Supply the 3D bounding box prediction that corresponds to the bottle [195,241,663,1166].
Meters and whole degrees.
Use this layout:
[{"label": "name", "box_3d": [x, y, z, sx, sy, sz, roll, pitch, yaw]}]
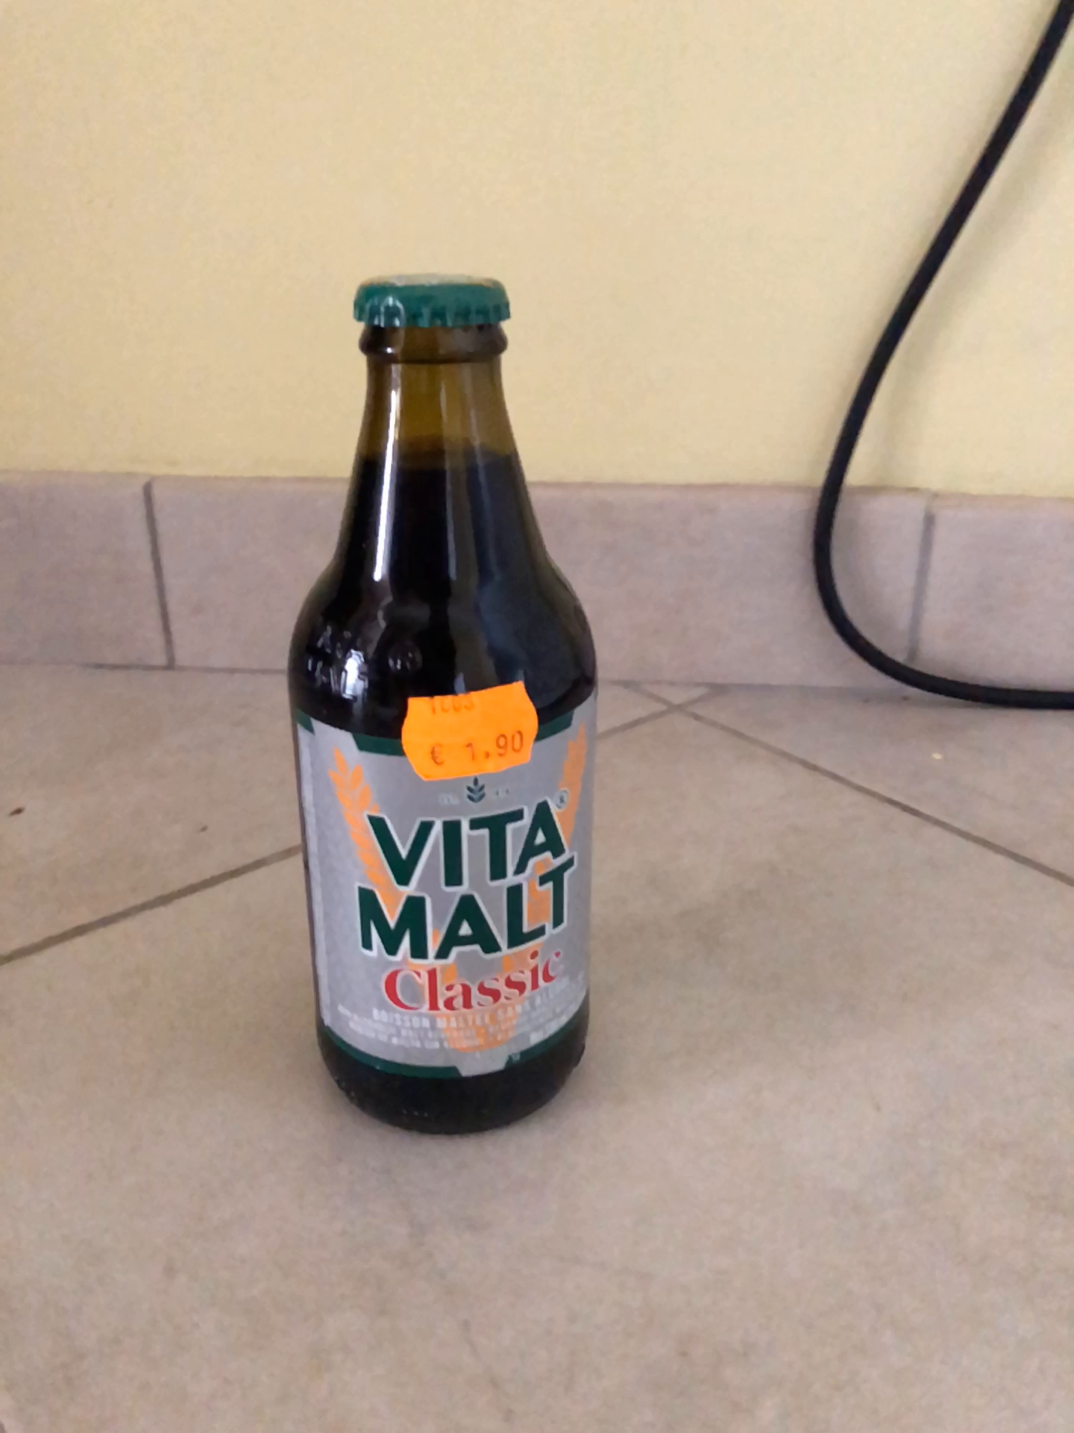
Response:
[{"label": "bottle", "box_3d": [-0.023, -0.004, 0.244, 0.070, 0.169, 0.070, 0, 25, 0]}]
